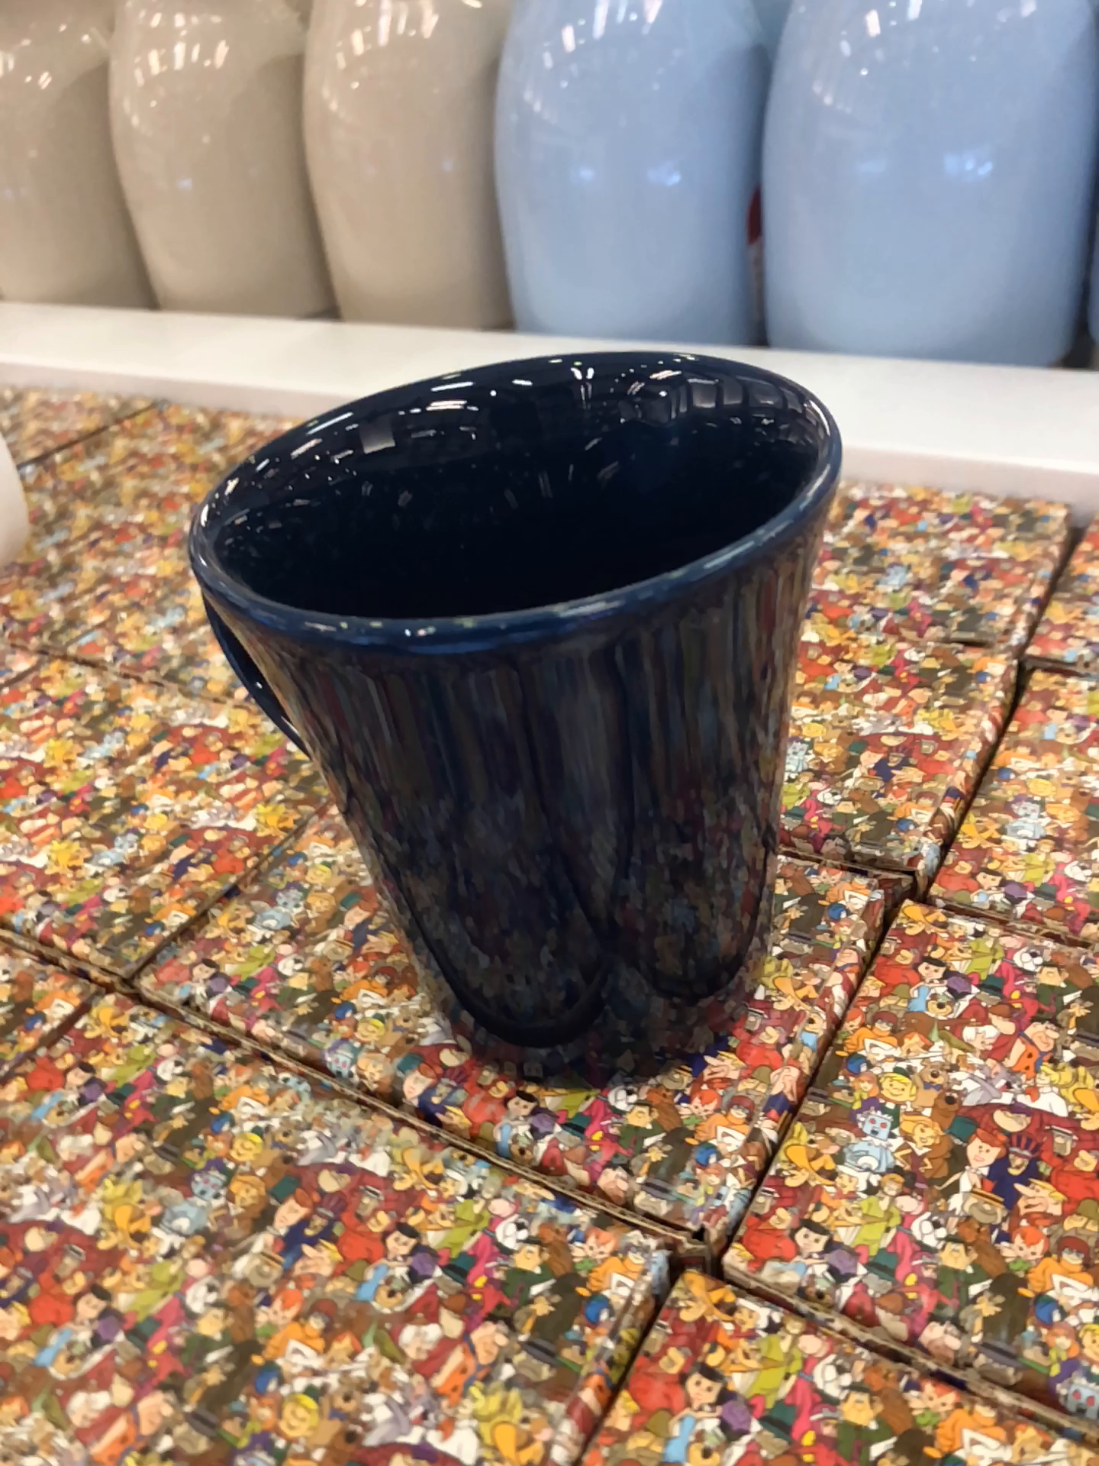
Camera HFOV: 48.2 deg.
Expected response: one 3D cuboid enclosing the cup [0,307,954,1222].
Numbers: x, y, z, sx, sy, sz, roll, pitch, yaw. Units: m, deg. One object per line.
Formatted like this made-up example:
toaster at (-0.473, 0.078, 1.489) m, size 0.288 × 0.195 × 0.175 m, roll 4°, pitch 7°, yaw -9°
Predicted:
cup at (-0.009, -0.009, 0.206) m, size 0.120 × 0.089 × 0.101 m, roll 13°, pitch 40°, yaw 28°
